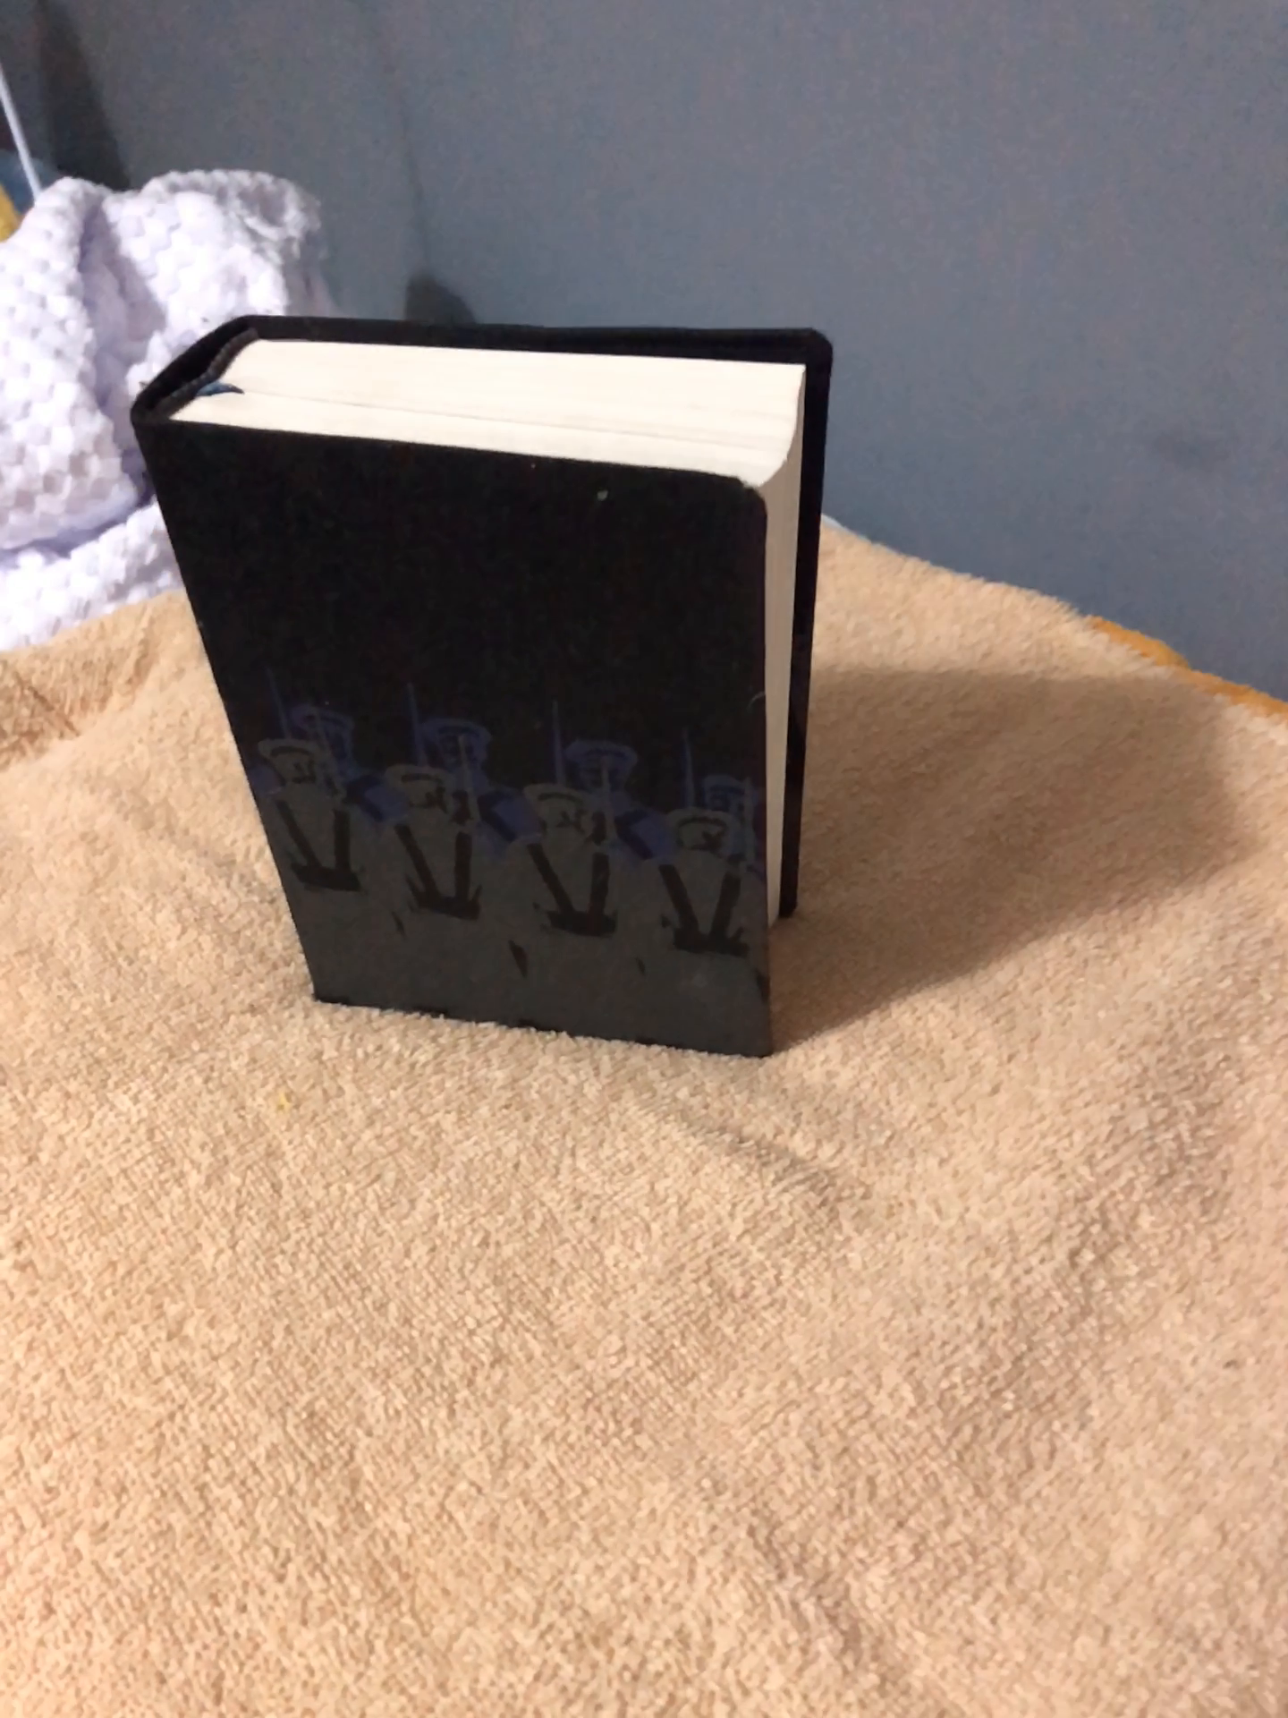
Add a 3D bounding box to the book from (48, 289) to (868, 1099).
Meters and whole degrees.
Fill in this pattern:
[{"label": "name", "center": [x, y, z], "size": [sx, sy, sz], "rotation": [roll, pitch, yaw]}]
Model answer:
[{"label": "book", "center": [-0.029, -0.032, 0.340], "size": [0.150, 0.179, 0.060], "rotation": [6, 43, 11]}]
